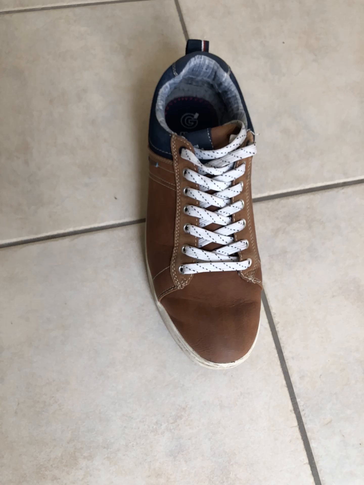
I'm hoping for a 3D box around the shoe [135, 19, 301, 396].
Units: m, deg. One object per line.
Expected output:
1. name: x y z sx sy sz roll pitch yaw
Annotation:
1. shoe: 0.013 -0.034 0.375 0.100 0.120 0.320 -2 70 -6
